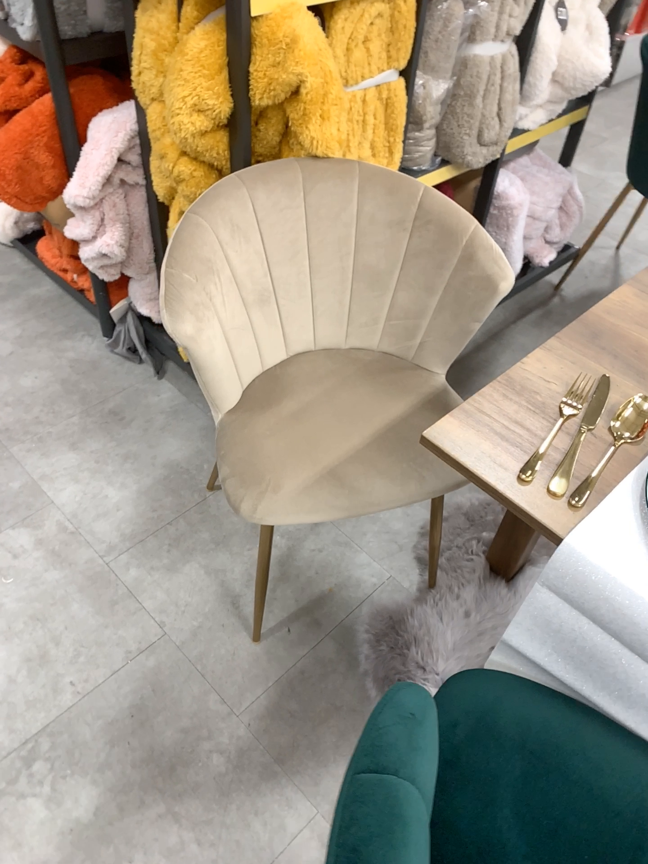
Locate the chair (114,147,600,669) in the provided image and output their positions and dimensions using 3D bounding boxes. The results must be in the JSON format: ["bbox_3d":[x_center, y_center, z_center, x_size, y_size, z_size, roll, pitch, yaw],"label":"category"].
[{"bbox_3d":[-0.015,-0.053,1.225,0.562,0.666,0.577,-11,48,-16],"label":"chair"}]
